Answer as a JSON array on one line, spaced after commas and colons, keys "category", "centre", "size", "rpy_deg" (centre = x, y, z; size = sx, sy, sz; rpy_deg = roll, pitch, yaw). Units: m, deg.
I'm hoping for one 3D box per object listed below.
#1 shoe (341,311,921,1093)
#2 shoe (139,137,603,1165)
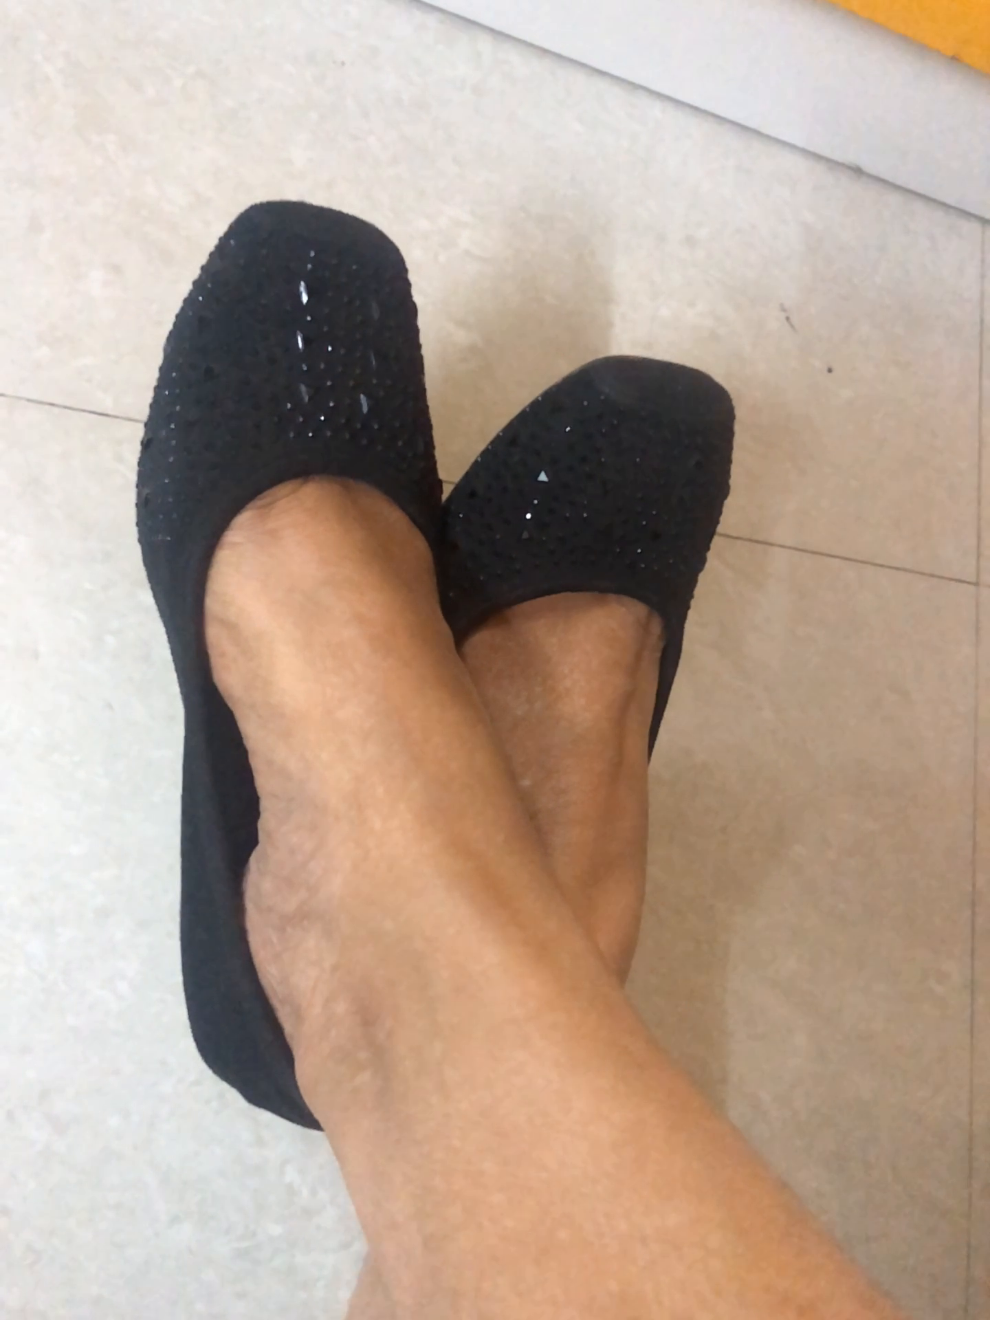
[{"category": "shoe", "centre": [0.030, 0.024, 0.361], "size": [0.100, 0.070, 0.240], "rpy_deg": [7, 114, -23]}, {"category": "shoe", "centre": [-0.046, 0.002, 0.327], "size": [0.100, 0.070, 0.270], "rpy_deg": [-5, 111, -32]}]
